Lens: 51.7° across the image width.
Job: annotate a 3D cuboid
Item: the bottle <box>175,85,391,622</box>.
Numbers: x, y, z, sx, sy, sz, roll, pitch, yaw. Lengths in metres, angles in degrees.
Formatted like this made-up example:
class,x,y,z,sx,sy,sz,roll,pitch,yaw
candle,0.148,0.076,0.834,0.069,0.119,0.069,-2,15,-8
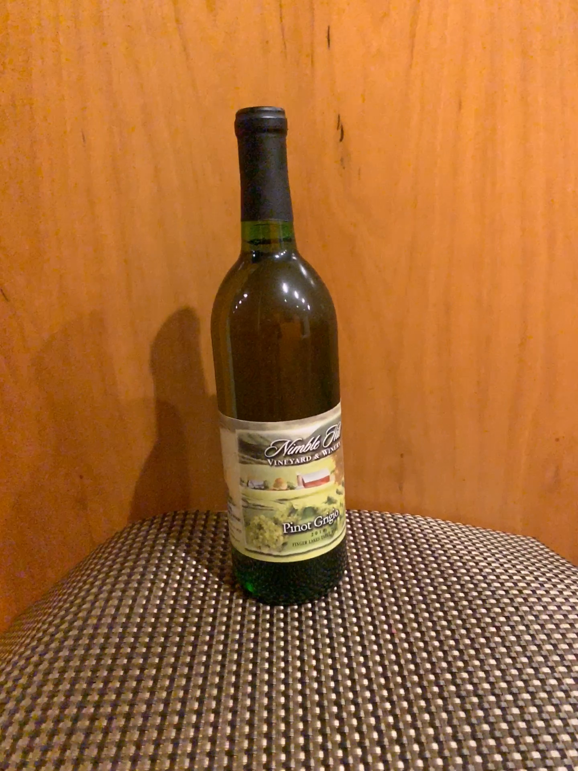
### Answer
class,x,y,z,sx,sy,sz,roll,pitch,yaw
bottle,-0.001,-0.015,0.341,0.090,0.269,0.080,-8,17,-16
